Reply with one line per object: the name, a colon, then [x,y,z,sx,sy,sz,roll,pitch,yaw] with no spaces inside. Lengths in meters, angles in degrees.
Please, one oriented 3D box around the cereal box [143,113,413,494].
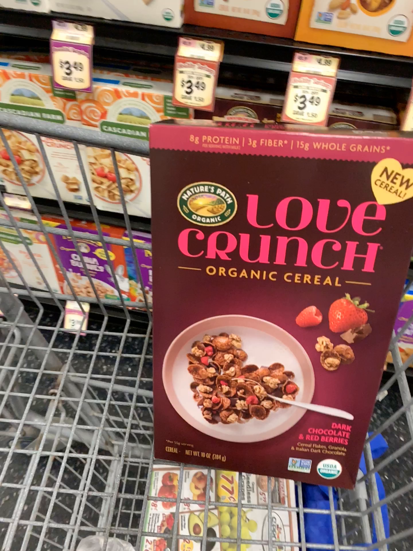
cereal box: [0.044,0.027,0.295,0.160,0.249,0.060,6,25,7]
